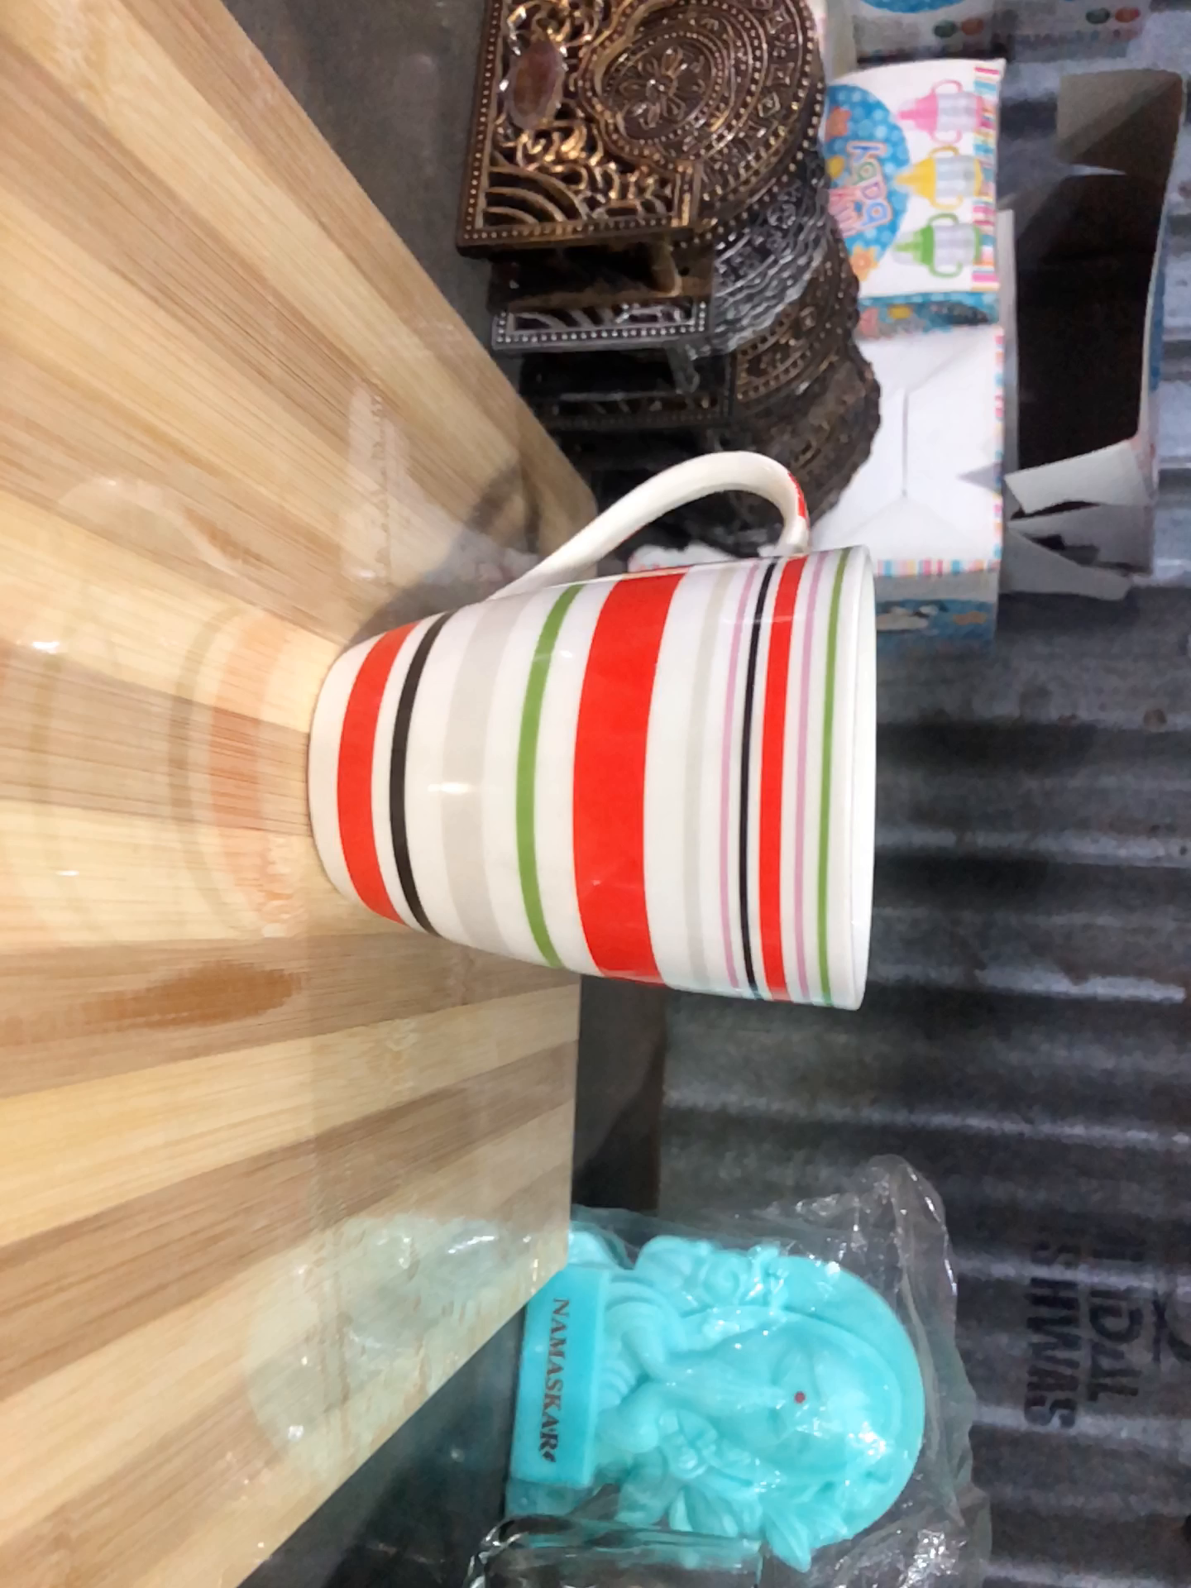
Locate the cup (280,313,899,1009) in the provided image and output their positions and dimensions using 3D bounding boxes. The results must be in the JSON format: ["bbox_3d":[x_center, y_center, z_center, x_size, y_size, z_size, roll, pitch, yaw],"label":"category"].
[{"bbox_3d":[0.006,-0.021,0.258,0.080,0.100,0.110,14,78,-78],"label":"cup"}]
